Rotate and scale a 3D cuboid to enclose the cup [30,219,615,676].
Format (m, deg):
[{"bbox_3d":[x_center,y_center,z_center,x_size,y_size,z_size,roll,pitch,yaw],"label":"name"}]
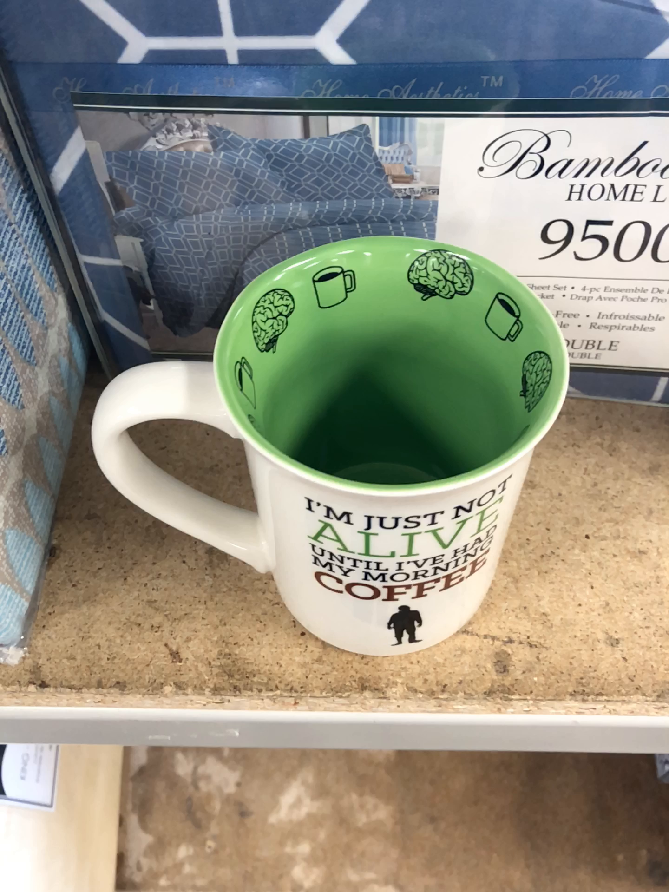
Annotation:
[{"bbox_3d":[0.000,0.006,0.256,0.138,0.124,0.100,0,52,3],"label":"cup"}]
